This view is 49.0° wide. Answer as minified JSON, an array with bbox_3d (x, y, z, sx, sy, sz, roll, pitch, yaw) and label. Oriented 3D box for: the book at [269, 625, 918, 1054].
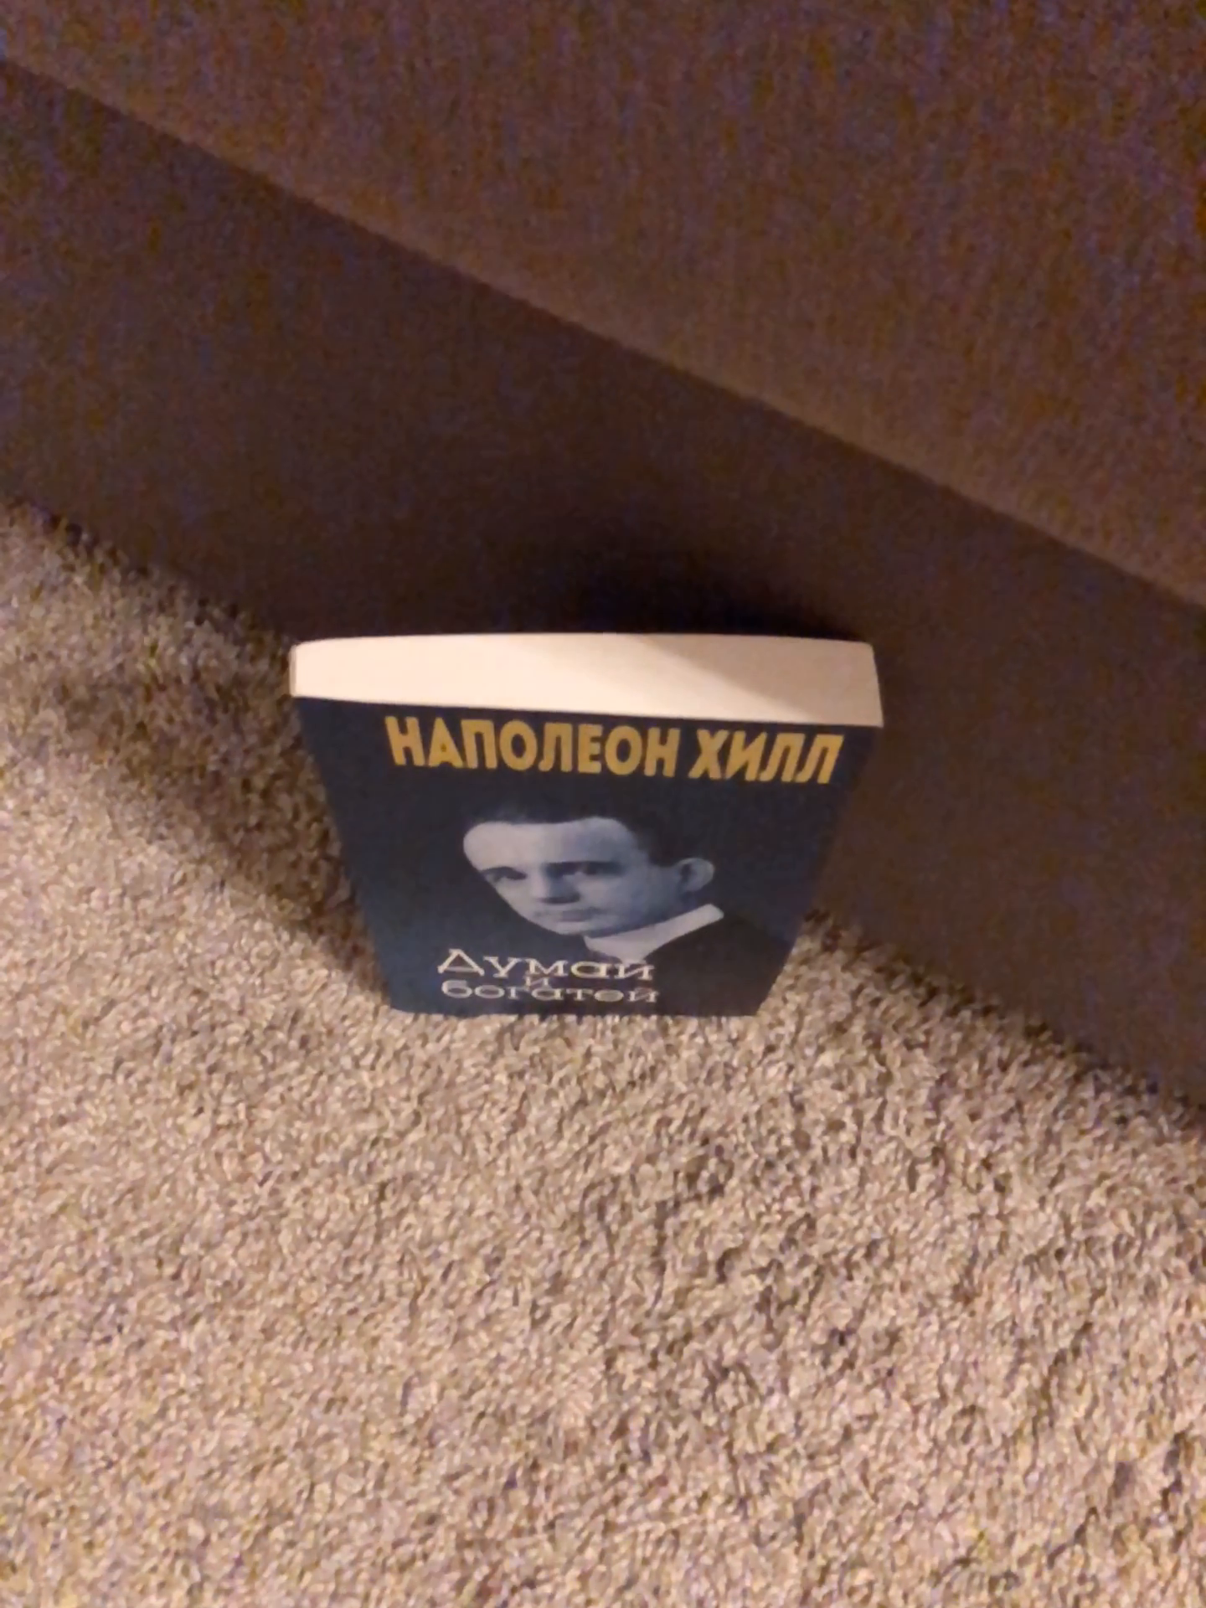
[{"bbox_3d":[-0.007,0.022,0.363,0.132,0.198,0.030,0,62,-4],"label":"book"}]
